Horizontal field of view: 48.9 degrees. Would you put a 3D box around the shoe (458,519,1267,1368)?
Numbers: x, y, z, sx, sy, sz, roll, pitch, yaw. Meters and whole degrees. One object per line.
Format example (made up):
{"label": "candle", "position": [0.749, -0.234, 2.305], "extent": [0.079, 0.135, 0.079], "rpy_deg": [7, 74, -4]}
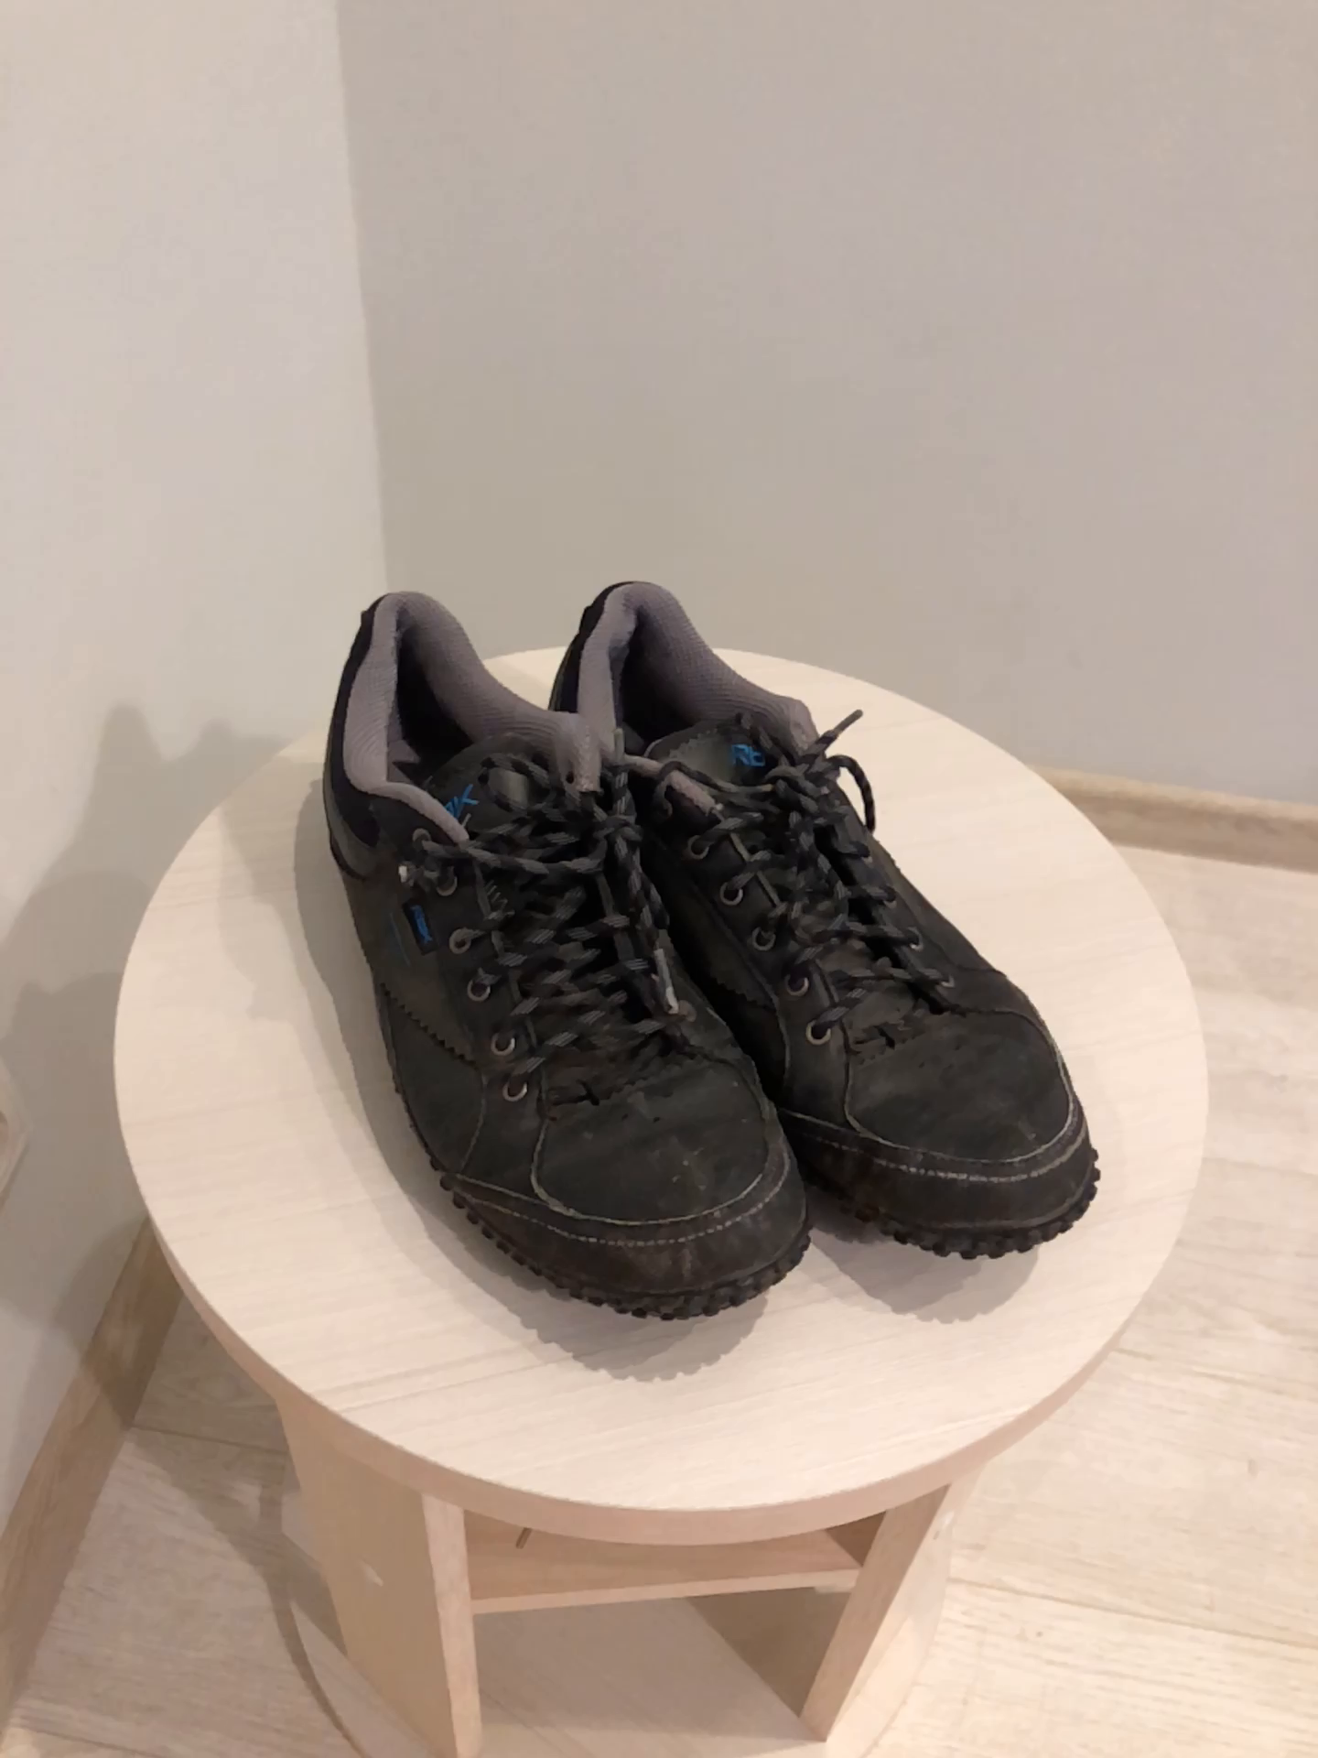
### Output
{"label": "shoe", "position": [0.044, 0.002, 0.481], "extent": [0.110, 0.099, 0.271], "rpy_deg": [-21, 50, -23]}

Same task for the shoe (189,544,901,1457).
{"label": "shoe", "position": [-0.052, 0.017, 0.458], "extent": [0.110, 0.099, 0.271], "rpy_deg": [-18, 49, -20]}
